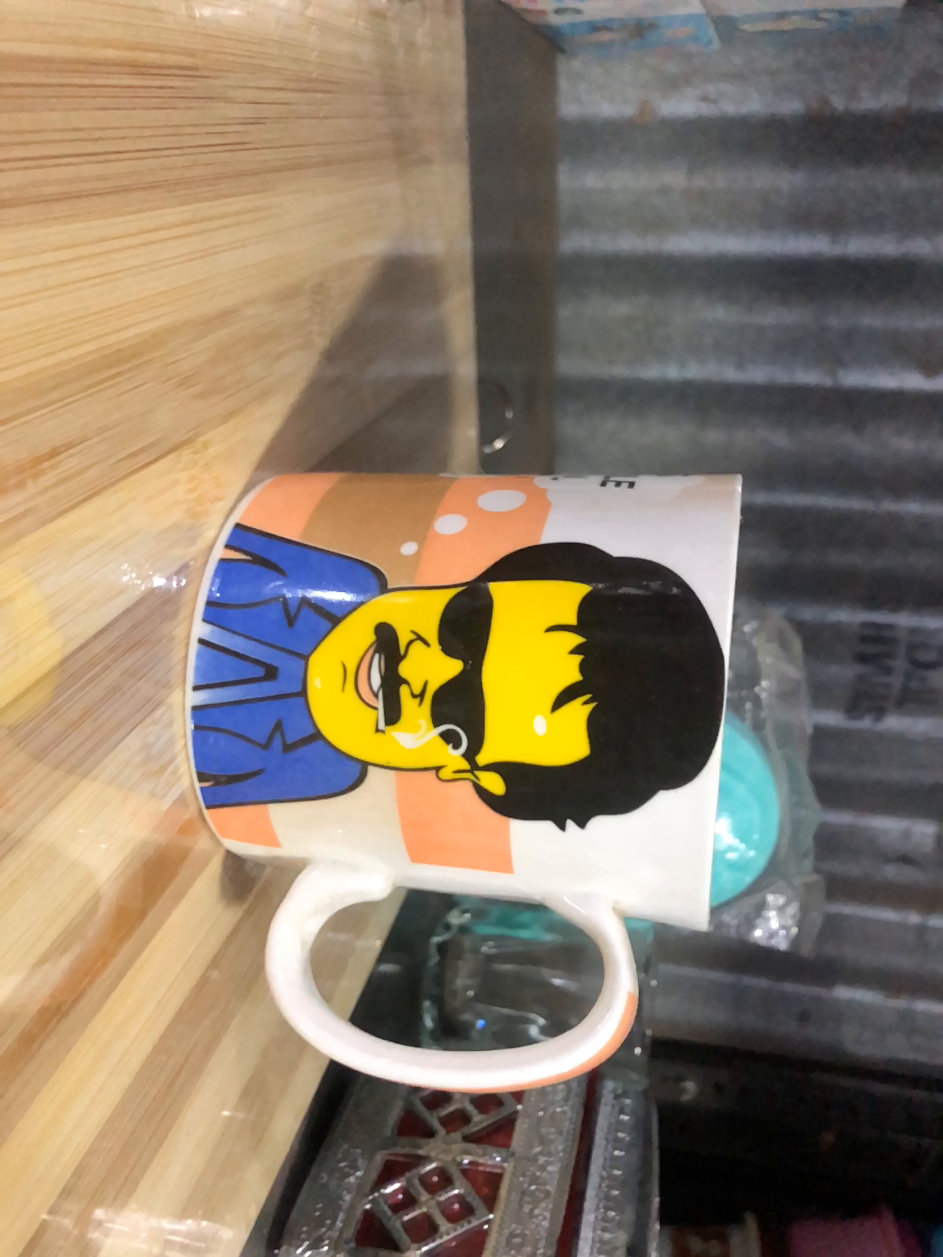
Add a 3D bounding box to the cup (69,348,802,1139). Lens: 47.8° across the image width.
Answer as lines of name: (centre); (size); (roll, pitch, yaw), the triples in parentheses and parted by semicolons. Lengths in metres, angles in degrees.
cup: (0.005, 0.019, 0.184); (0.070, 0.090, 0.110); (69, 28, -65)
